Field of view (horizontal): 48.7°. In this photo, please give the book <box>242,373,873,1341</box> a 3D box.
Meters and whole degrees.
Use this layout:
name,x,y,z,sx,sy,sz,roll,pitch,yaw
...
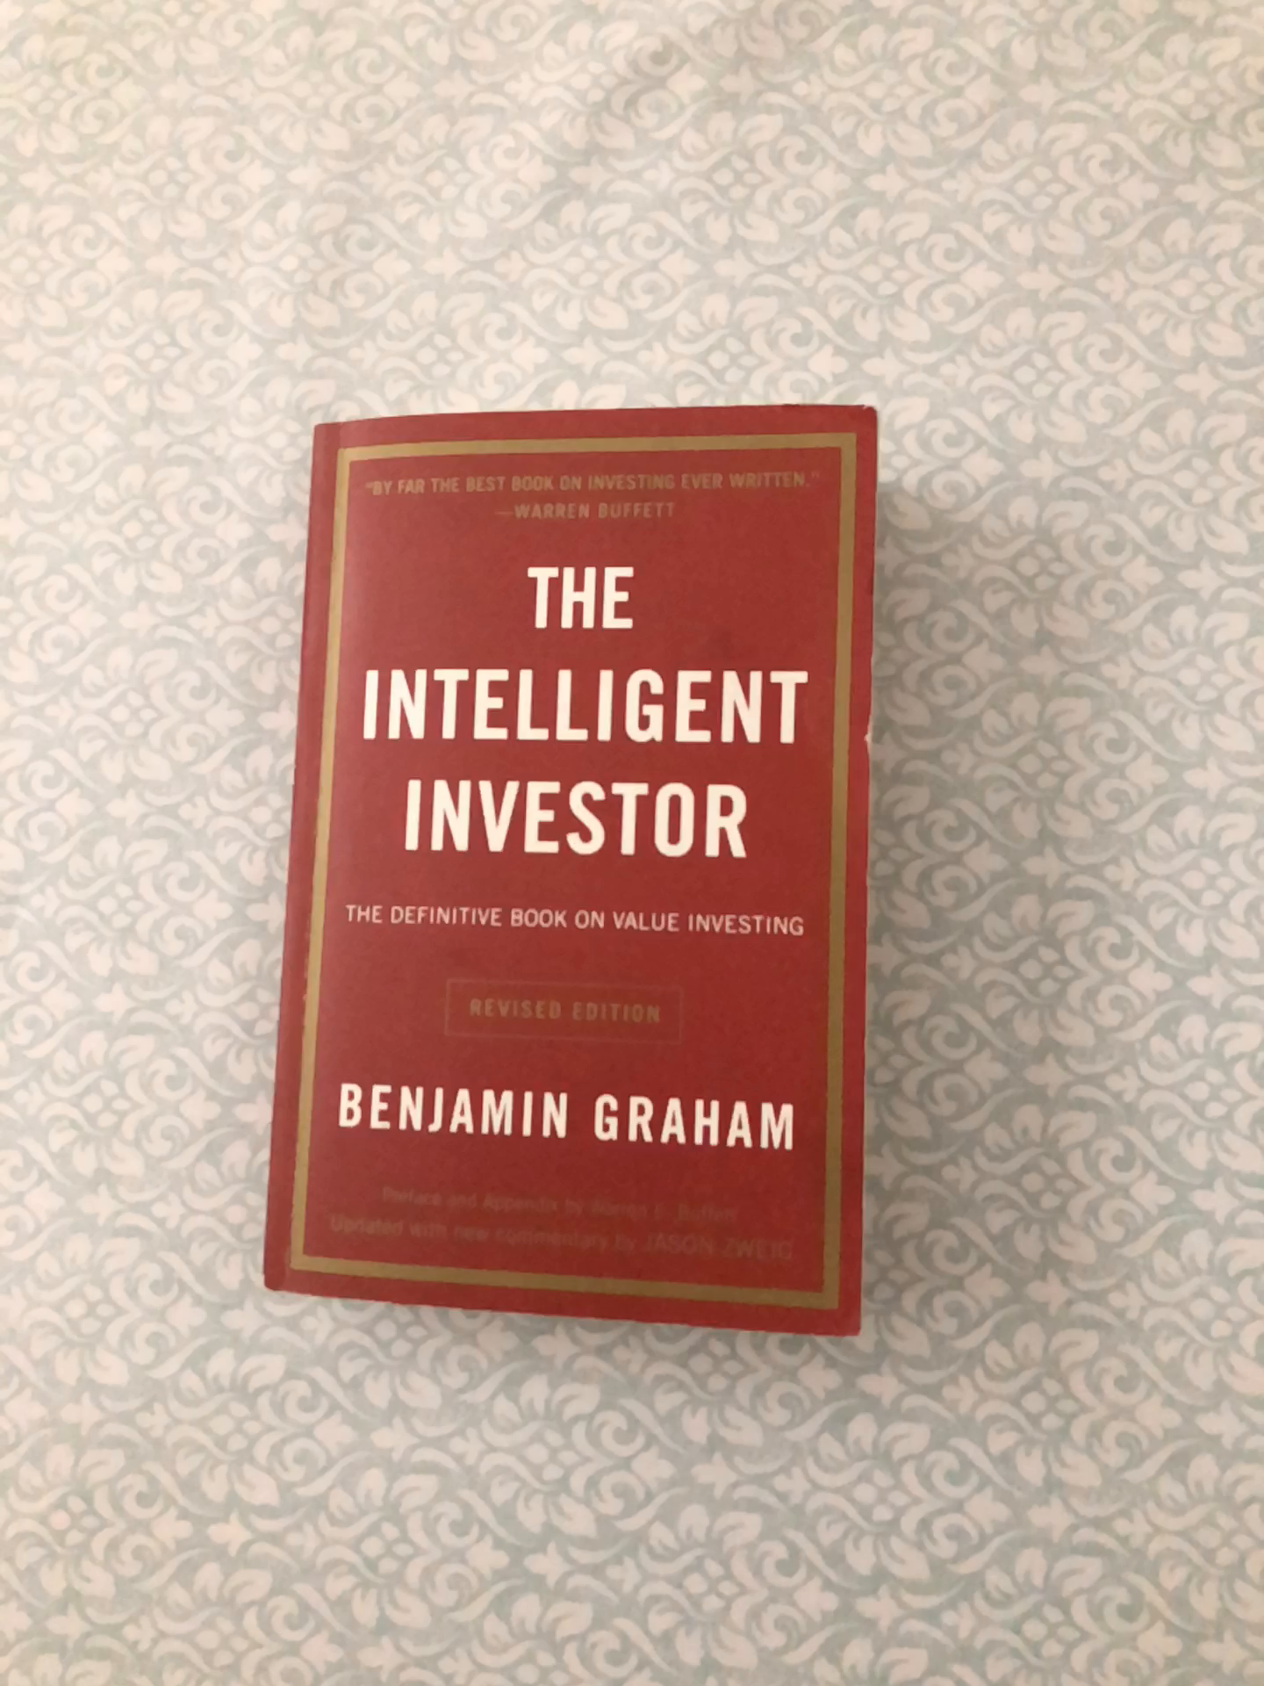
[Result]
name,x,y,z,sx,sy,sz,roll,pitch,yaw
book,-0.012,0.001,0.323,0.130,0.050,0.200,1,85,9
